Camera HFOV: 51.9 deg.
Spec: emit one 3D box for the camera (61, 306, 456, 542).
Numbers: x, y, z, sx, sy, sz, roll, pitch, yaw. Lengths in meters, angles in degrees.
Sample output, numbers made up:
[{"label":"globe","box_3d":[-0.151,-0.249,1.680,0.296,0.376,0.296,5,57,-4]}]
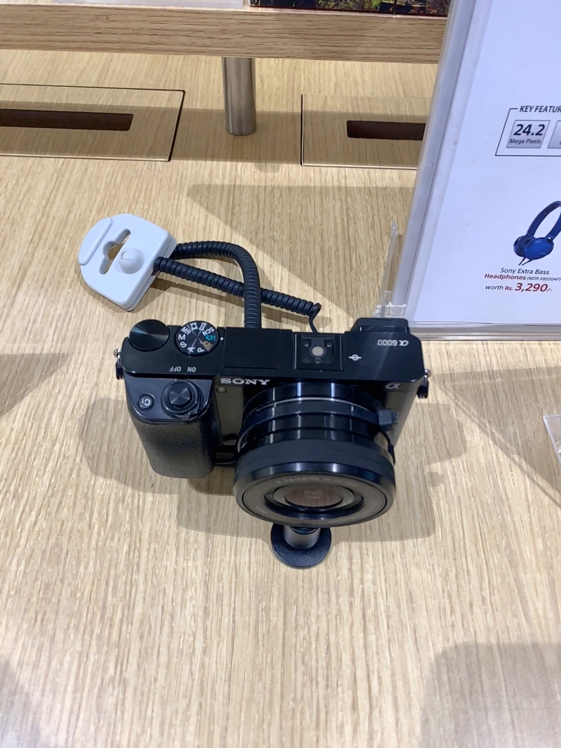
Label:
[{"label":"camera","box_3d":[-0.007,0.022,0.238,0.130,0.070,0.070,1,56,0]}]
